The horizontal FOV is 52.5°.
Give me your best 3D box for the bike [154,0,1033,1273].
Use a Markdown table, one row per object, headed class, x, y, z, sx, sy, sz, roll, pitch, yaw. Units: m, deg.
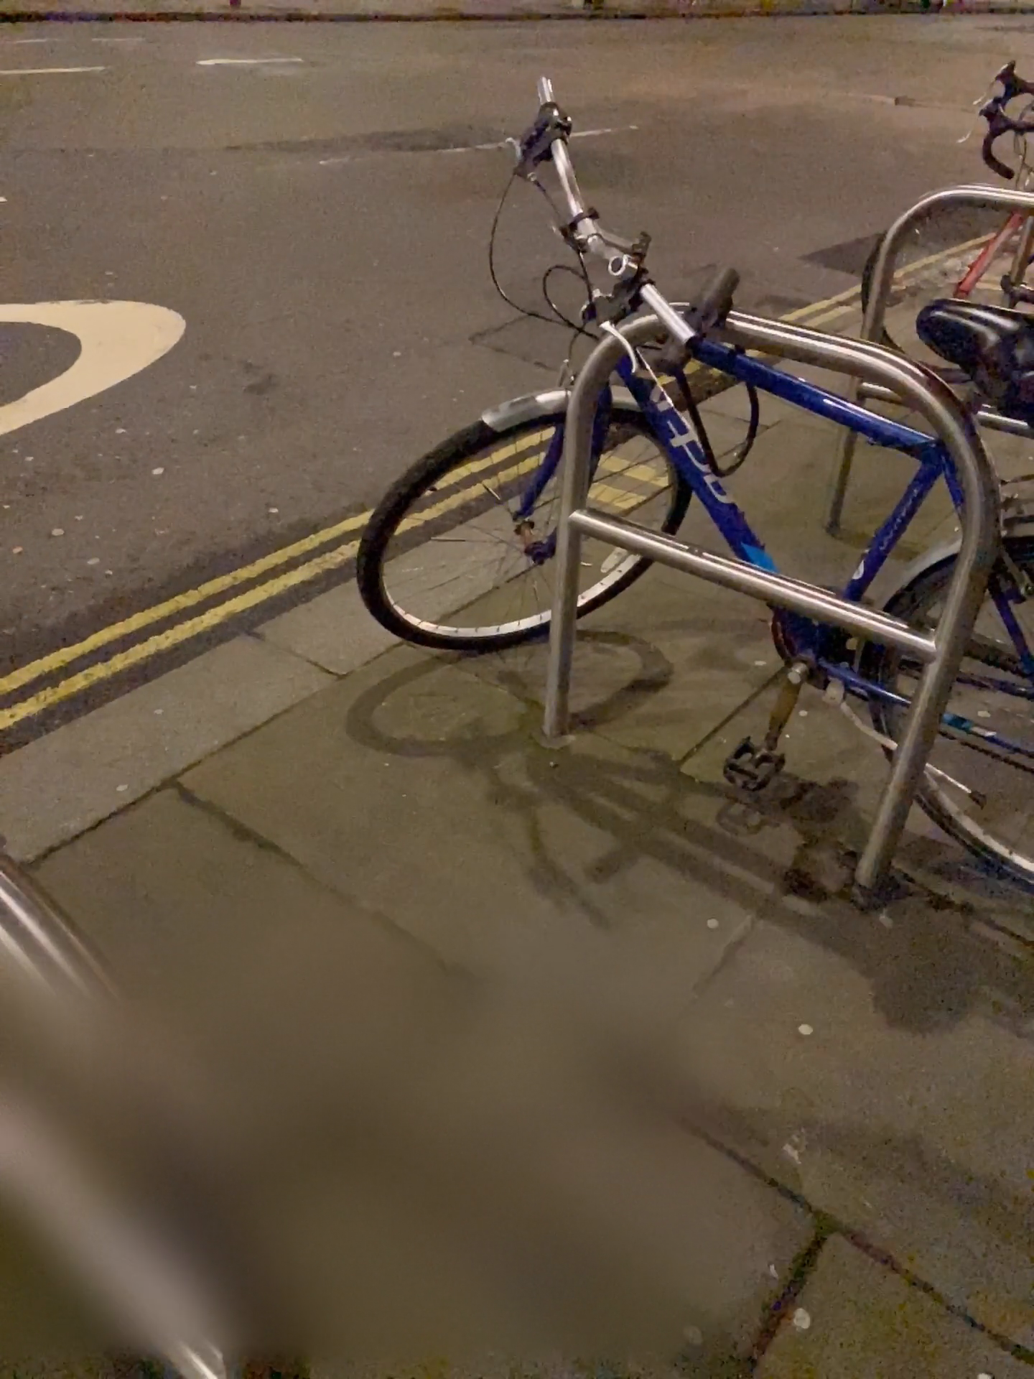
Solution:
| class | x | y | z | sx | sy | sz | roll | pitch | yaw |
| --- | --- | --- | --- | --- | --- | --- | --- | --- | --- |
| bike | 0.448 | -0.193 | 1.448 | 1.596 | 1.108 | 0.659 | 22 | 40 | 22 |
